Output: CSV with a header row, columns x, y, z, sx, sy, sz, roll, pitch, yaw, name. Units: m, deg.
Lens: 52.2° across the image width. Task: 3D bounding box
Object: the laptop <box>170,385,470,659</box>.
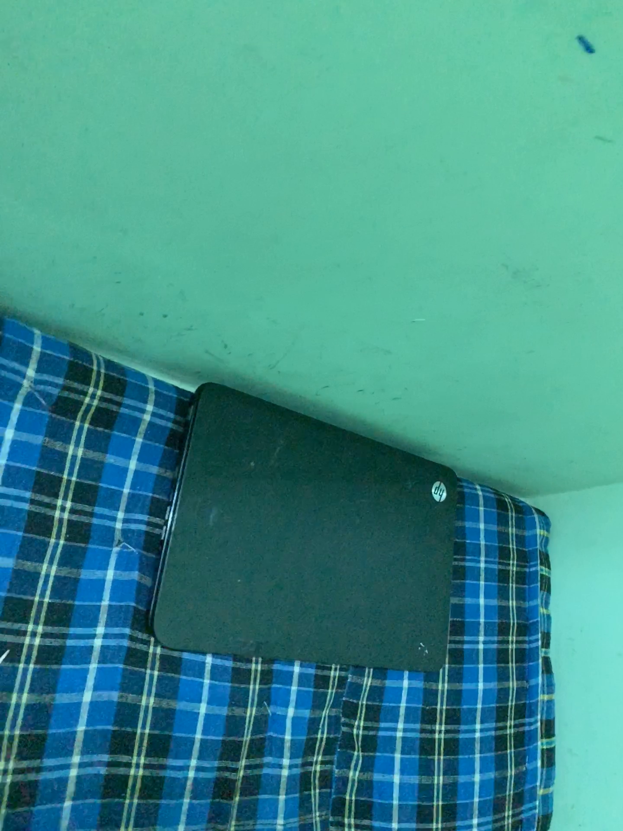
x,y,z,sx,sy,sz,roll,pitch,yaw,name
0.038,0.124,0.647,0.347,0.018,0.217,19,70,-35,laptop
